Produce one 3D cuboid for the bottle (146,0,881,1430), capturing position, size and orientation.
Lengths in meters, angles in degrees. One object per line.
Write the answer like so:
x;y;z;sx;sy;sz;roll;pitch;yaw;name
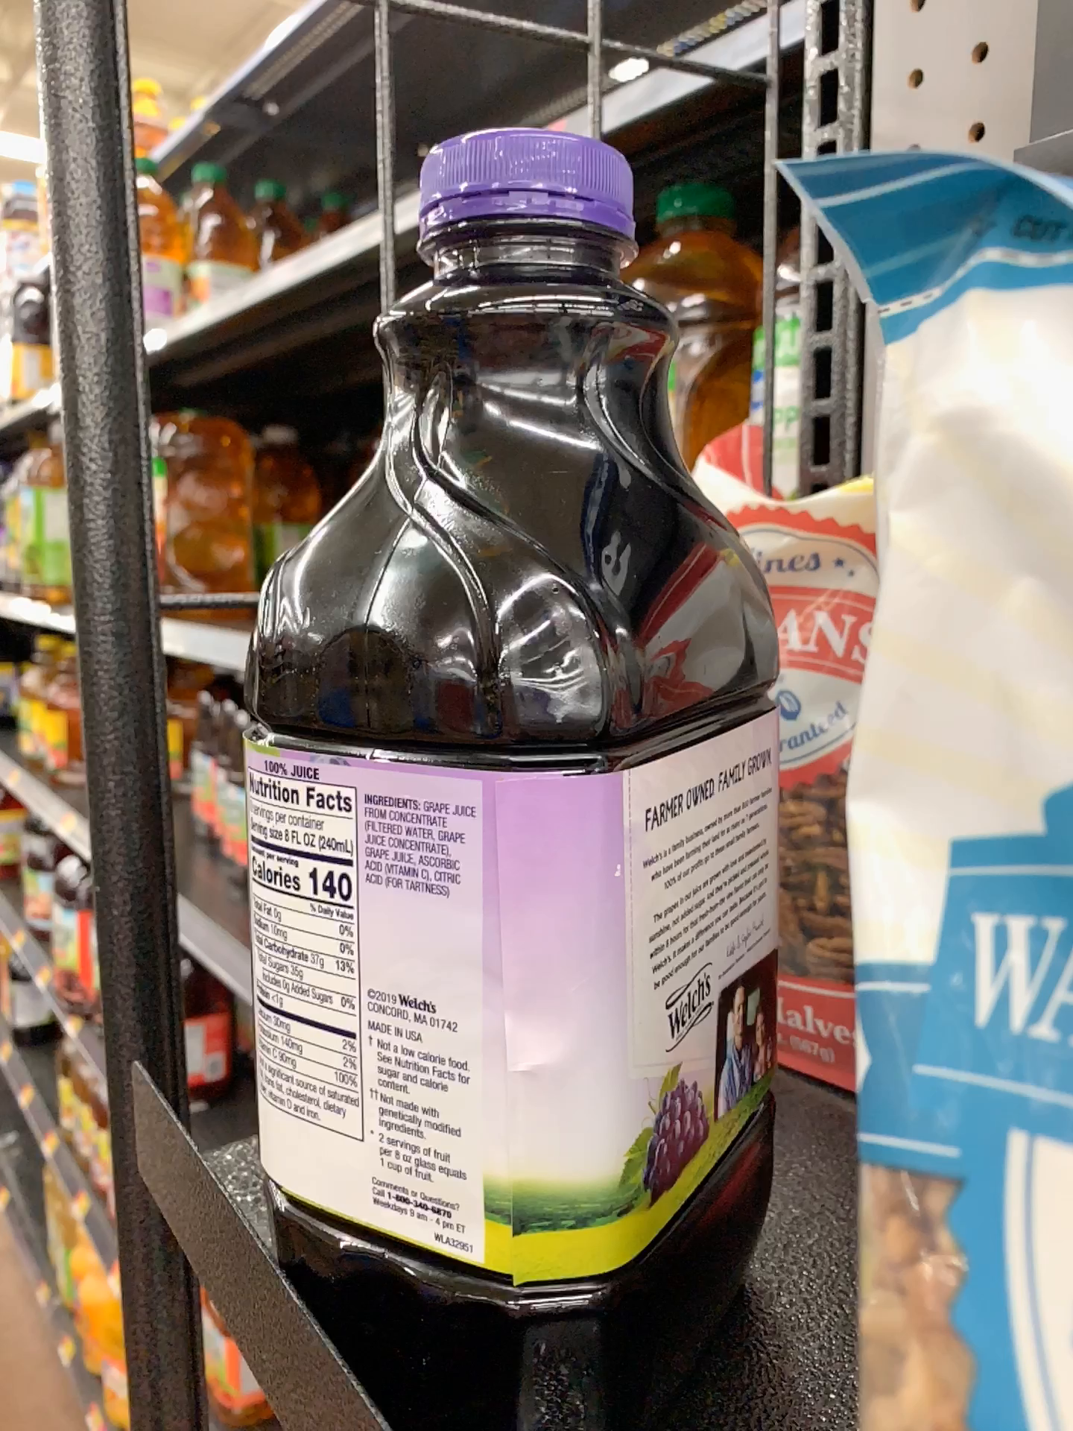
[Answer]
0.002;0.012;0.245;0.100;0.260;0.120;5;9;32;bottle
